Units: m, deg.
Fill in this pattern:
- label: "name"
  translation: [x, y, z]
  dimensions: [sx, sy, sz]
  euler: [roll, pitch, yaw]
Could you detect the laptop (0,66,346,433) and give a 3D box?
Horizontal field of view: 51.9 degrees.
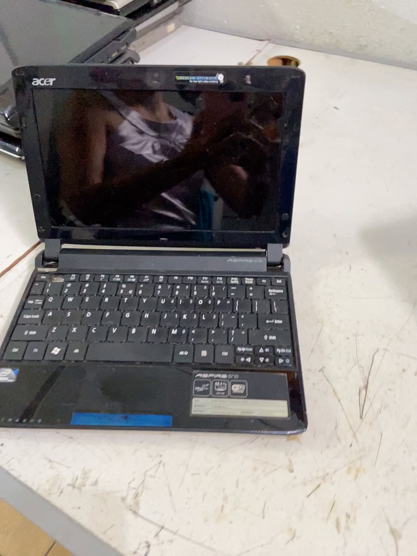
- label: "laptop"
  translation: [-0.051, -0.036, 0.349]
  dimensions: [0.252, 0.144, 0.261]
  euler: [1, 51, 3]
